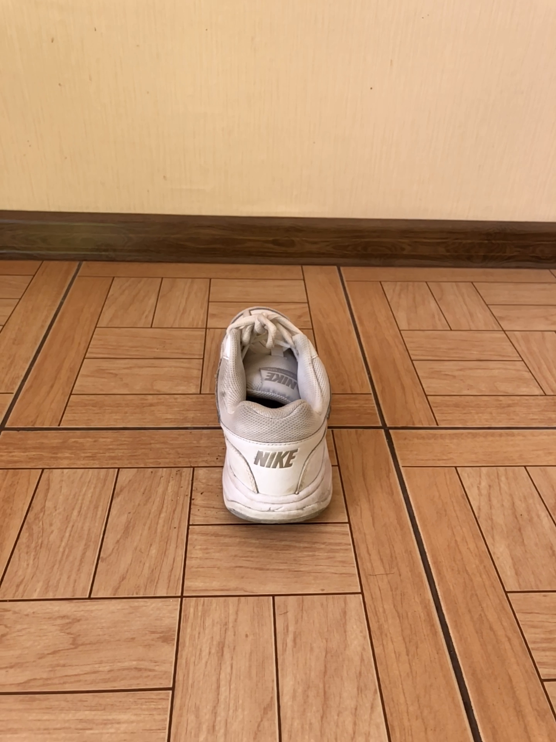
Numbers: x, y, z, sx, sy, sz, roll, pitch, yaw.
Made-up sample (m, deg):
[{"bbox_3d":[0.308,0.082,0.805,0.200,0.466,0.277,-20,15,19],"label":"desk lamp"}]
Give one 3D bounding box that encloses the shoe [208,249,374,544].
[{"bbox_3d":[-0.002,0.002,0.505,0.100,0.100,0.261,0,36,-4],"label":"shoe"}]
